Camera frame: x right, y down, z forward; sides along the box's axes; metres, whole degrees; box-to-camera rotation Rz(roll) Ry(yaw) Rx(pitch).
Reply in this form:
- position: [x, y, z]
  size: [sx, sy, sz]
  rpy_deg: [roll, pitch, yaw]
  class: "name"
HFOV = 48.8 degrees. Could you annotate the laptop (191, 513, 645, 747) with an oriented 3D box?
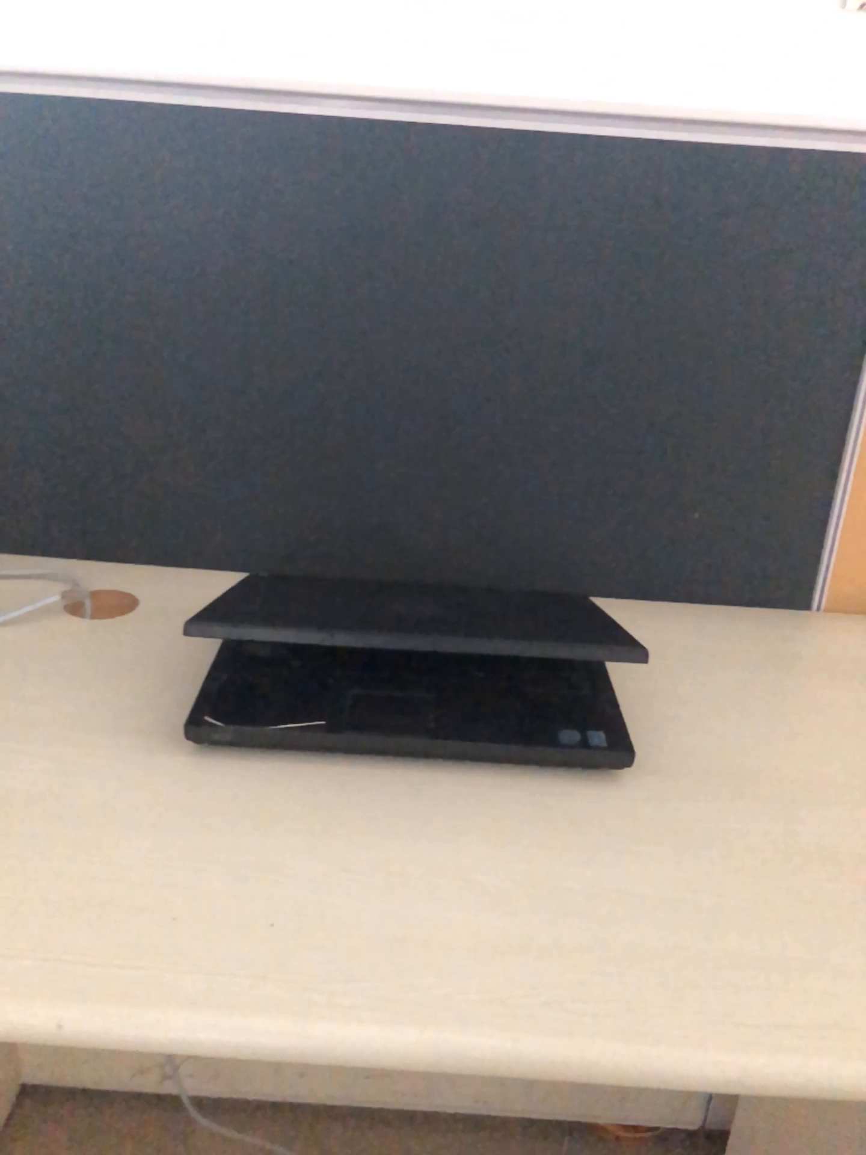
- position: [-0.009, 0.030, 0.750]
  size: [0.302, 0.064, 0.231]
  rpy_deg: [4, 24, -1]
  class: "laptop"
